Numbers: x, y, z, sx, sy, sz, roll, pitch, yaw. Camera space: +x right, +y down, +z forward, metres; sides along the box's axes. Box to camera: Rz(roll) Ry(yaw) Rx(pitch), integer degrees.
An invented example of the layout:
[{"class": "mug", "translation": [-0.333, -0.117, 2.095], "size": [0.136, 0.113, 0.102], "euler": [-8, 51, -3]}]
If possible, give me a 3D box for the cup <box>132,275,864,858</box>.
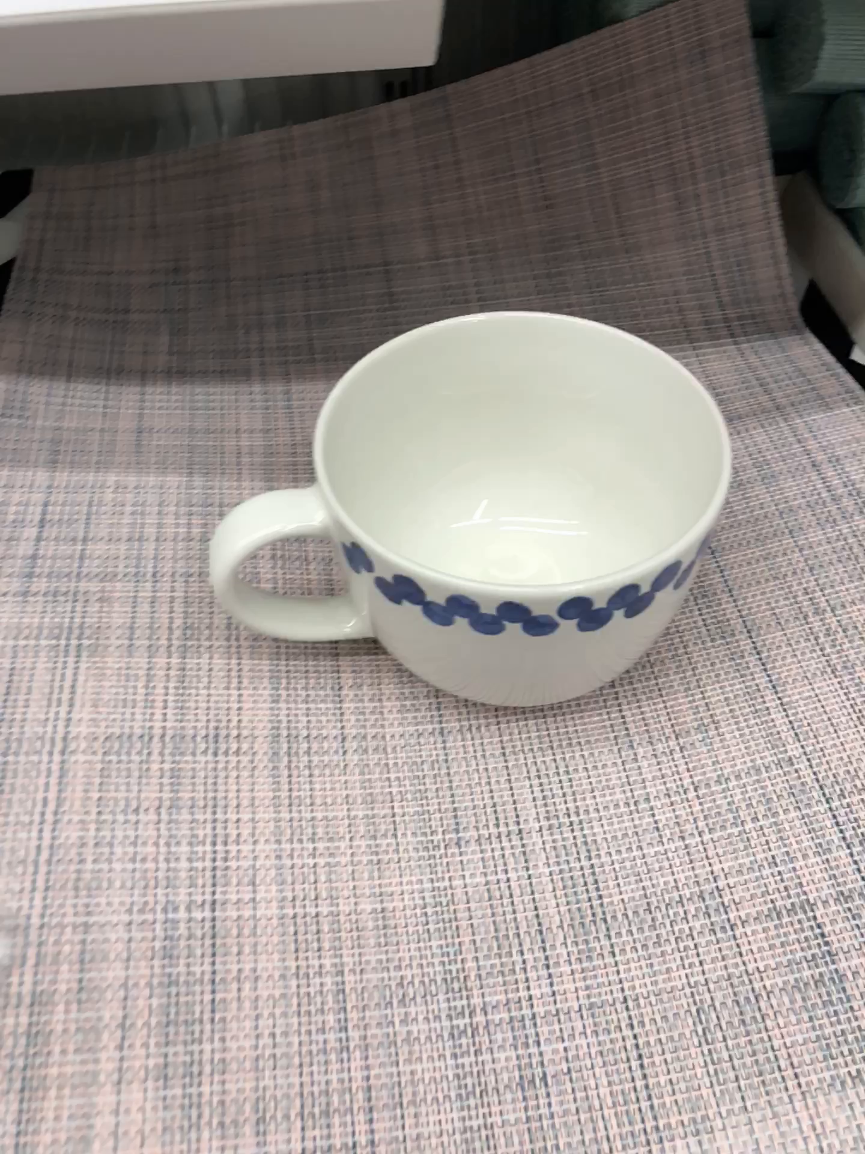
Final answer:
[{"class": "cup", "translation": [0.009, -0.009, 0.247], "size": [0.150, 0.060, 0.110], "euler": [-12, 50, -8]}]
